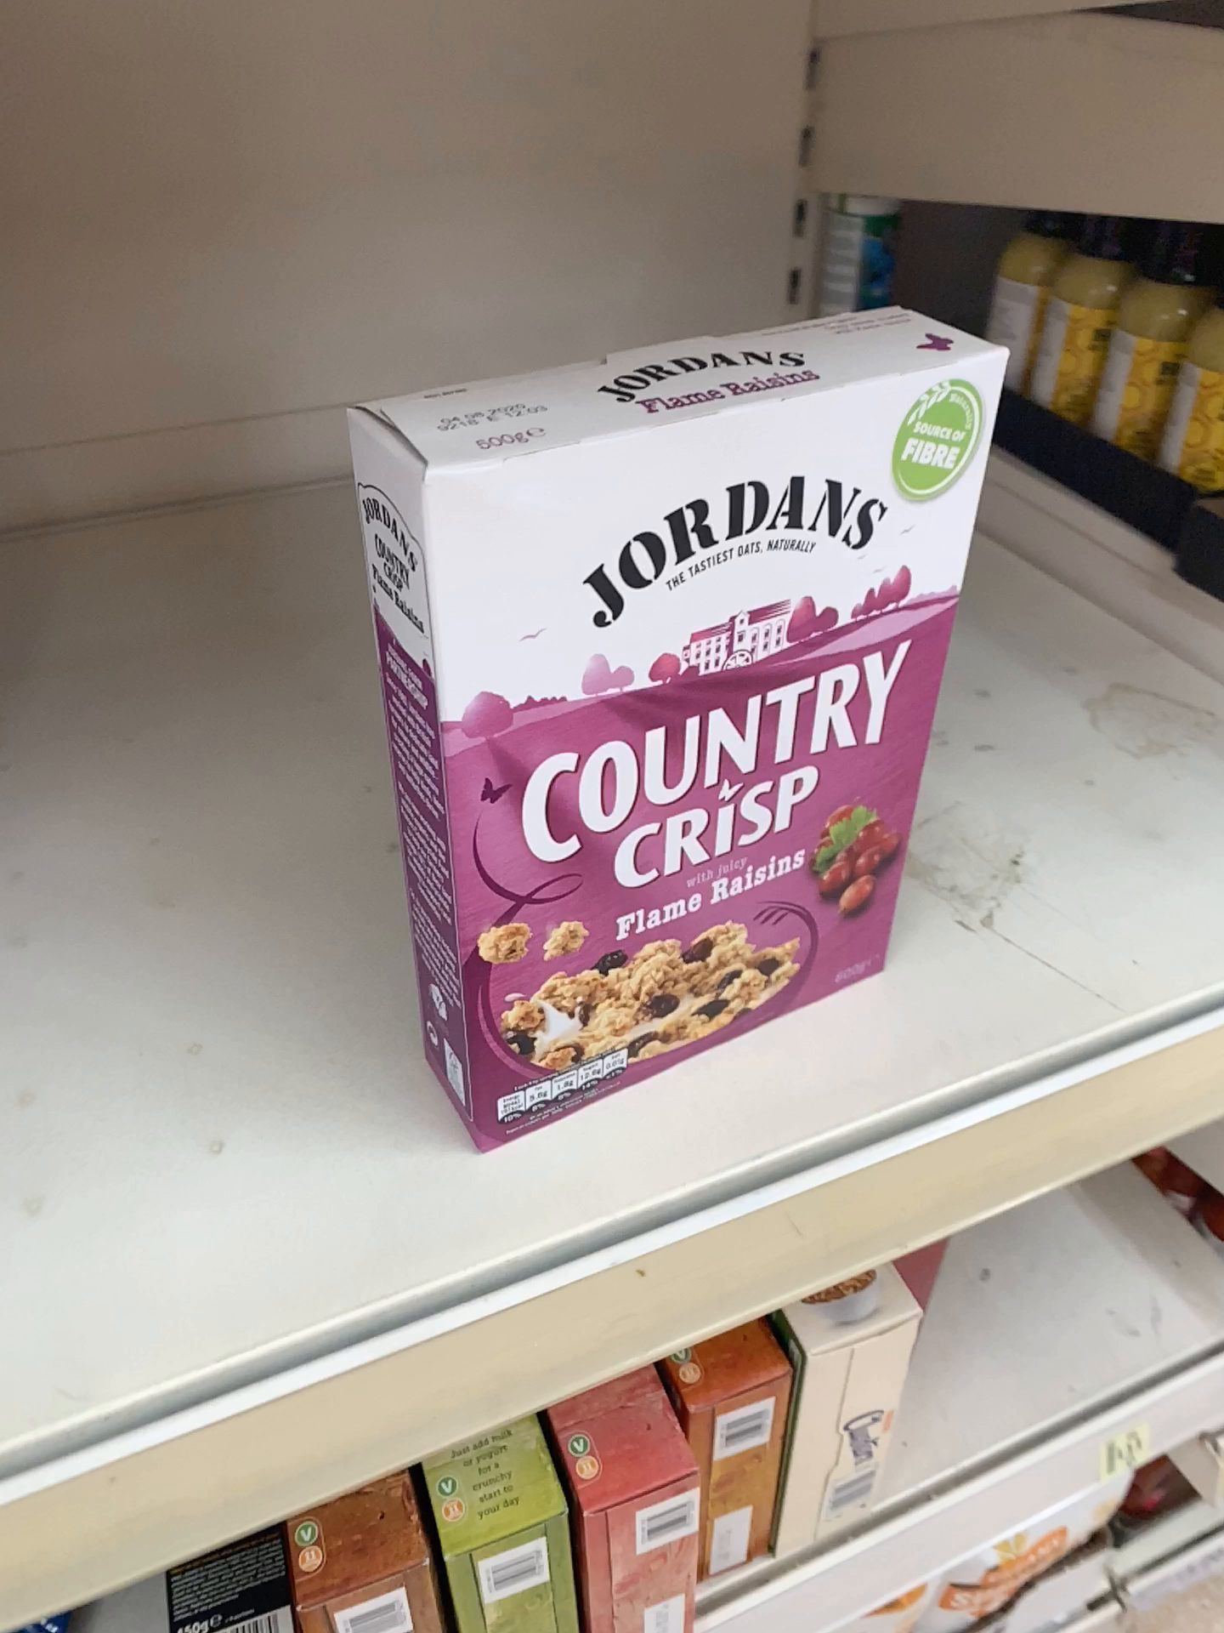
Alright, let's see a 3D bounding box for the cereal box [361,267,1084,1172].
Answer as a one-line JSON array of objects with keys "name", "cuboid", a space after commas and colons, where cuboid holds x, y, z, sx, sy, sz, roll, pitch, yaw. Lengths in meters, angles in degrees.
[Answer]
[{"name": "cereal box", "cuboid": [0.033, -0.024, 0.397, 0.191, 0.248, 0.050, -19, 41, -25]}]
